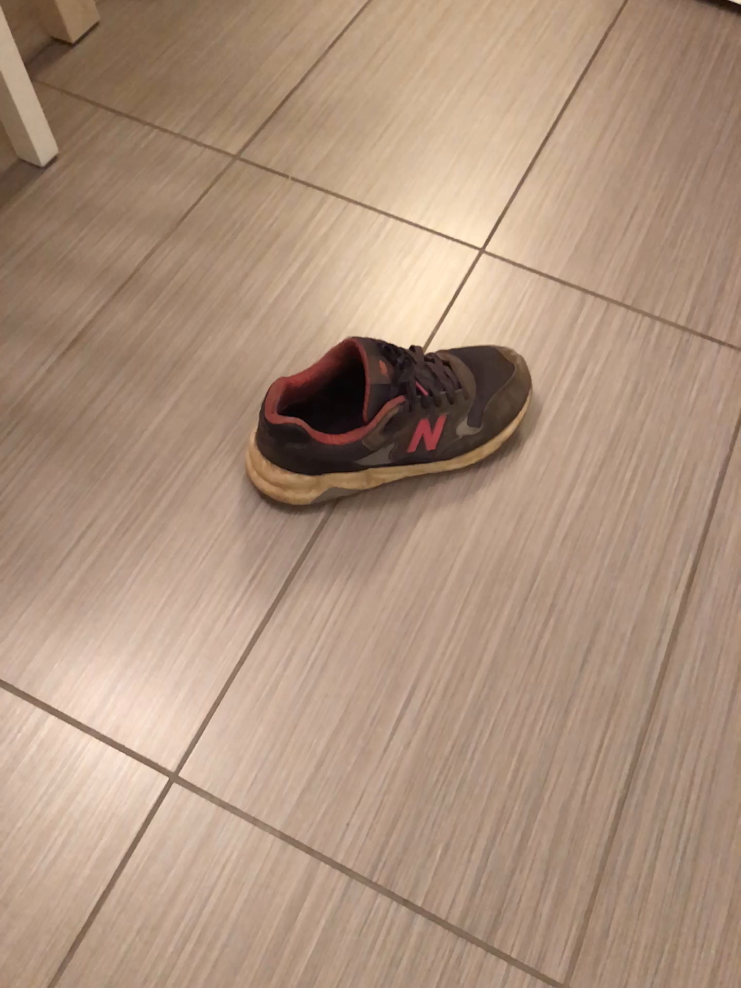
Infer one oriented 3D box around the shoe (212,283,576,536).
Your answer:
[{"bbox_3d":[0.019,-0.076,0.692,0.270,0.070,0.120,-20,63,-13],"label":"shoe"}]
